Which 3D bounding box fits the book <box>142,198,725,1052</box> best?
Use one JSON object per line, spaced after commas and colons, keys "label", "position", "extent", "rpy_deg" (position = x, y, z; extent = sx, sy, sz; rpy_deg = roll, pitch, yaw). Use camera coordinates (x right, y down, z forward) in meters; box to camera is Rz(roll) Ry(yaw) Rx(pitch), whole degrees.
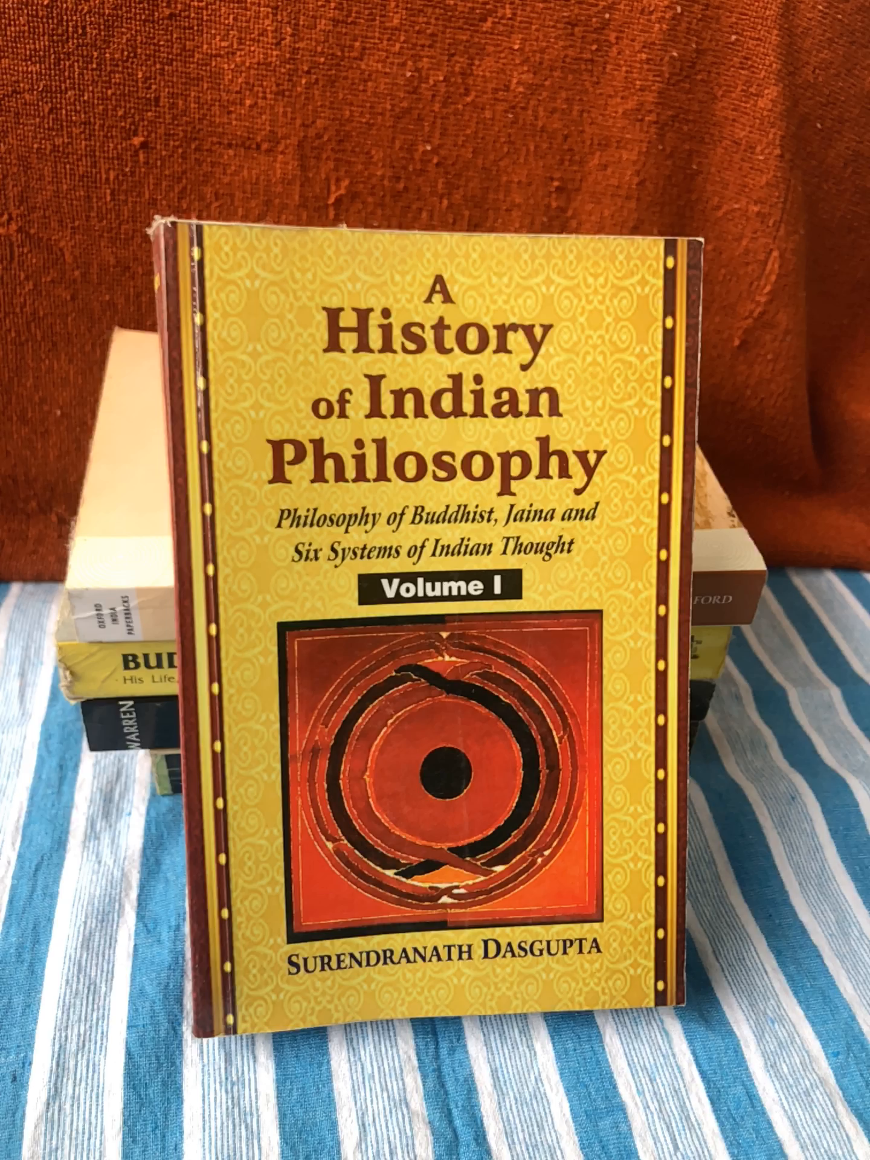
{"label": "book", "position": [0.001, 0.012, 0.273], "extent": [0.141, 0.216, 0.048], "rpy_deg": [-2, 8, -6]}
